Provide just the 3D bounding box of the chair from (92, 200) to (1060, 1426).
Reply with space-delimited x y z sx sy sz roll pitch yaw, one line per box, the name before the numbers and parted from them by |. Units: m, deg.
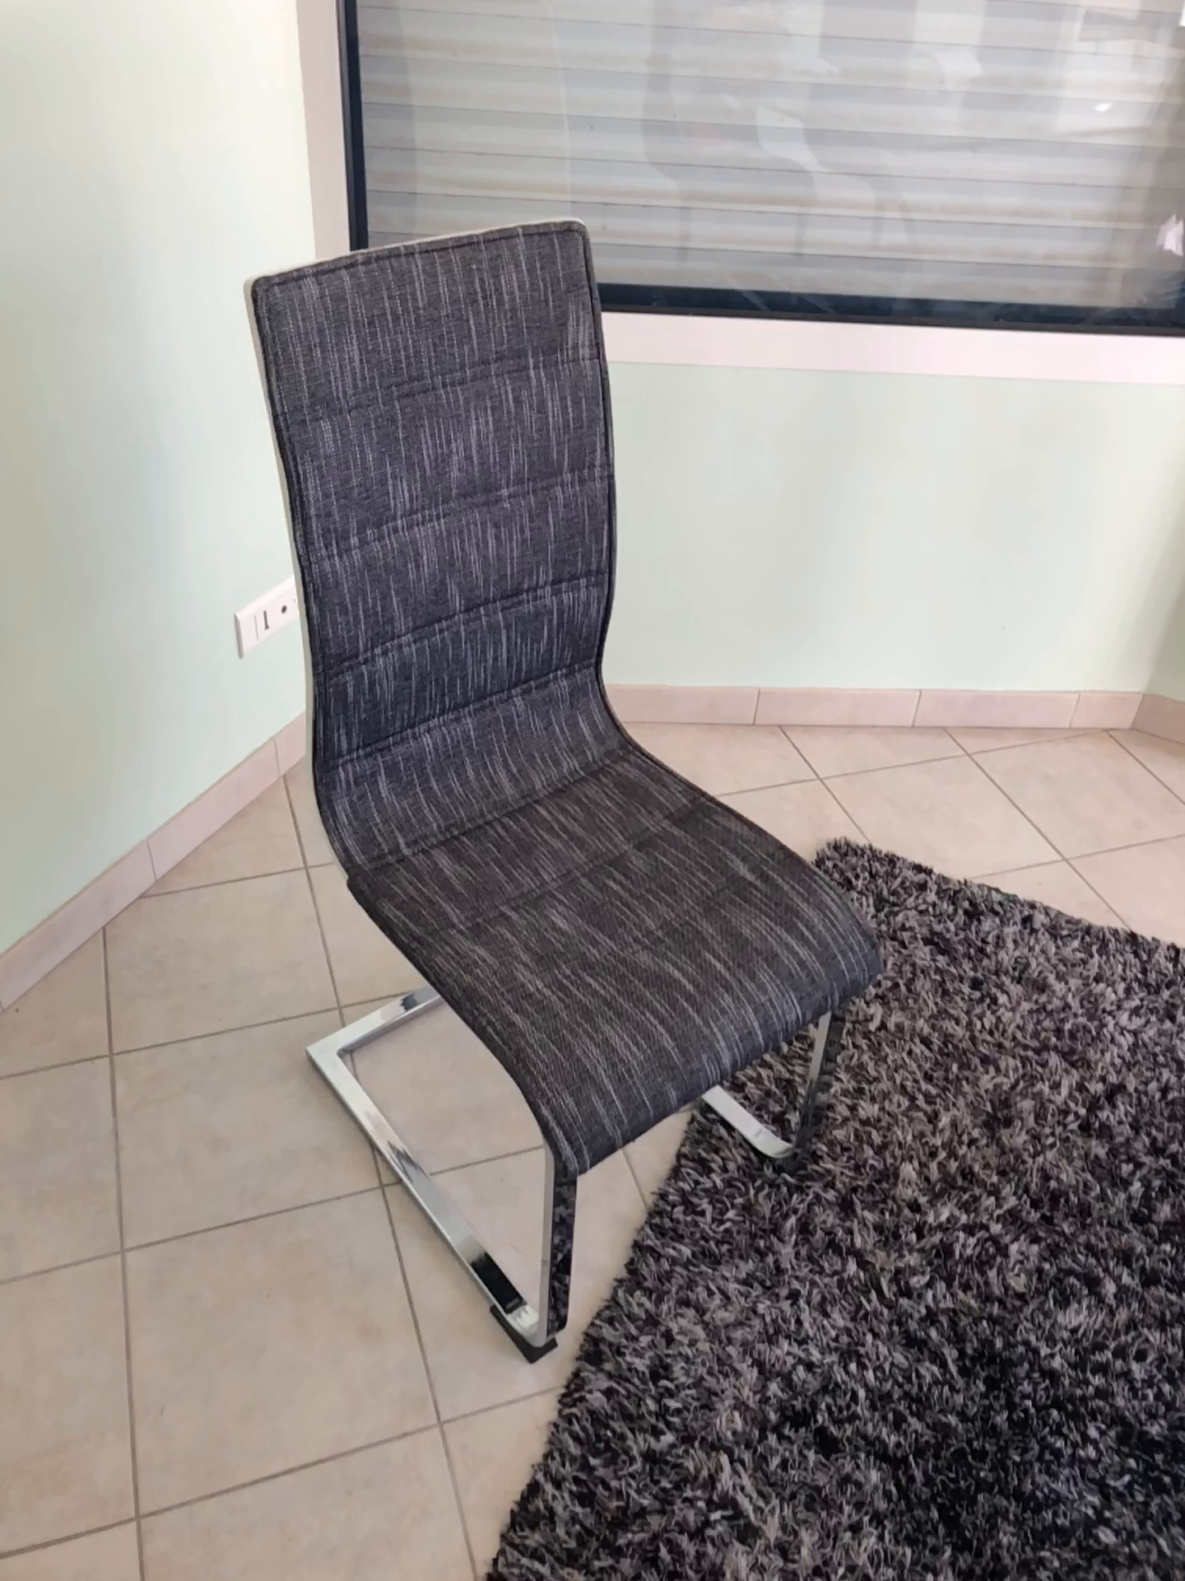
chair | -0.053 0.018 1.302 0.502 0.964 0.581 -25 46 -32
